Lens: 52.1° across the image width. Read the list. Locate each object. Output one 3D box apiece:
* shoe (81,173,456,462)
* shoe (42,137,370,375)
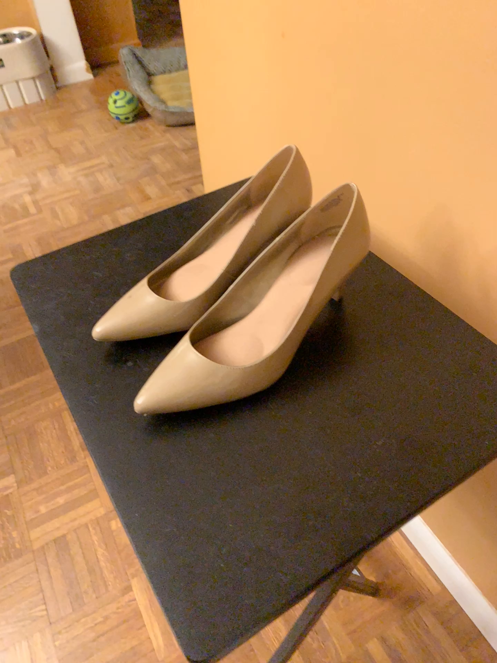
[{"bbox_3d":[0.027,-0.027,0.441,0.300,0.090,0.100,-29,51,-21],"label":"shoe"},{"bbox_3d":[-0.029,-0.088,0.509,0.300,0.090,0.100,-29,51,-21],"label":"shoe"}]
